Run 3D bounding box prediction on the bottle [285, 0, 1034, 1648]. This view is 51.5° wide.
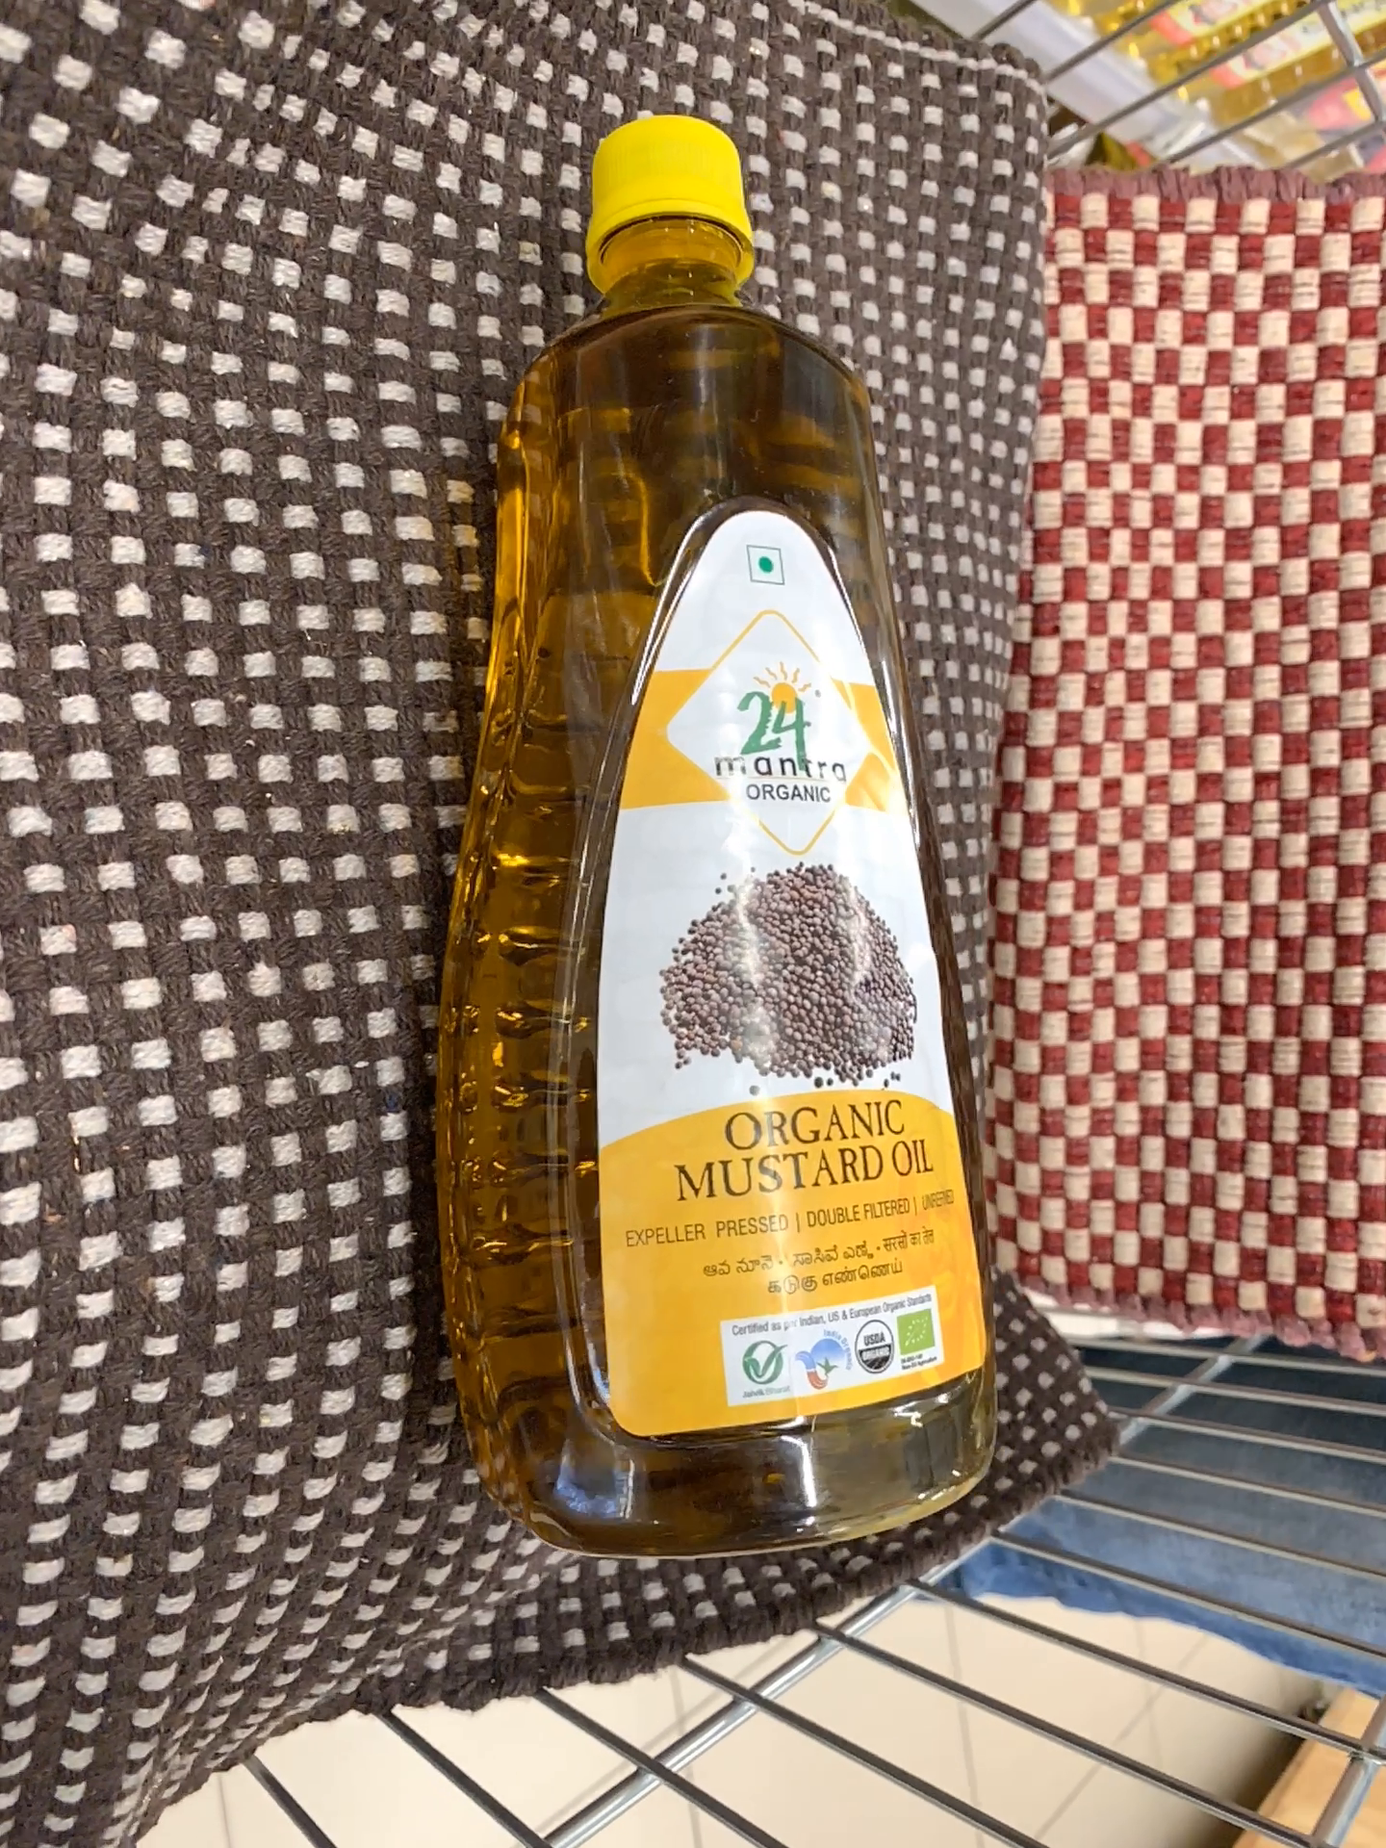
[{"bbox_3d":[-0.006,-0.028,0.245,0.111,0.060,0.250,-1,92,-31],"label":"bottle"}]
